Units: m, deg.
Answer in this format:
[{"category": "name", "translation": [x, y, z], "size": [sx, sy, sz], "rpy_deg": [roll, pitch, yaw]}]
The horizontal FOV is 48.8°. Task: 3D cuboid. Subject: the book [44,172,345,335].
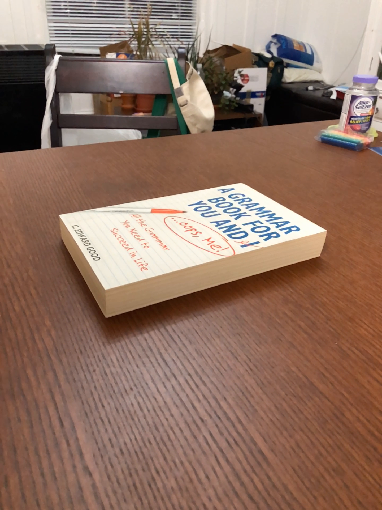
[{"category": "book", "translation": [-0.003, -0.022, 0.418], "size": [0.240, 0.040, 0.171], "rpy_deg": [-13, 33, -24]}]
